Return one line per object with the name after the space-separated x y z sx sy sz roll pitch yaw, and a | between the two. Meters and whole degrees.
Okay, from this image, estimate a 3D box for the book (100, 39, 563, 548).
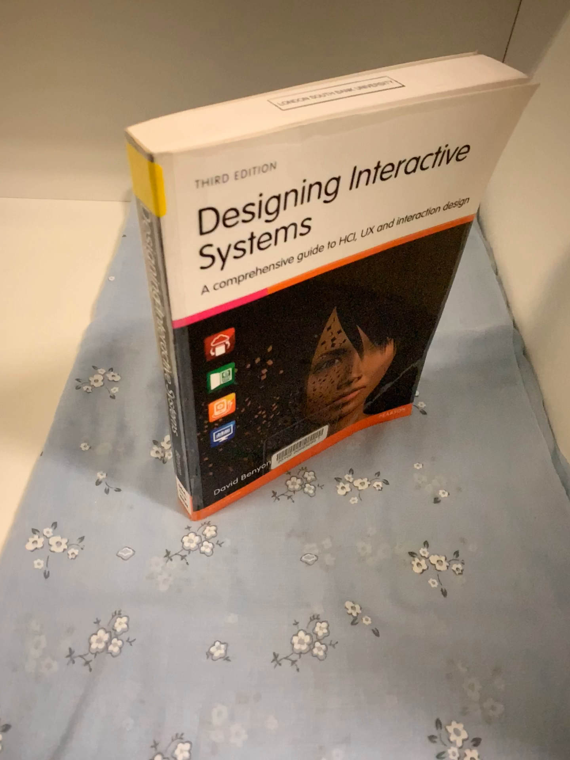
0.024 -0.033 0.345 0.216 0.269 0.041 -24 53 -25 | book
